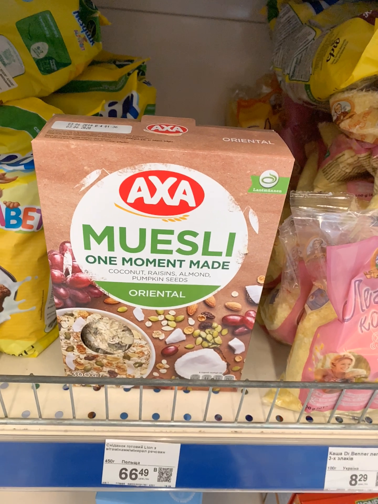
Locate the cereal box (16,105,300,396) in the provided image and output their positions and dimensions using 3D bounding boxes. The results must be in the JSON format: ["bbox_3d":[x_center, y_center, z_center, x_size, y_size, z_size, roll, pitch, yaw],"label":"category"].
[{"bbox_3d":[-0.024,0.016,0.292,0.150,0.218,0.050,3,36,-3],"label":"cereal box"}]
